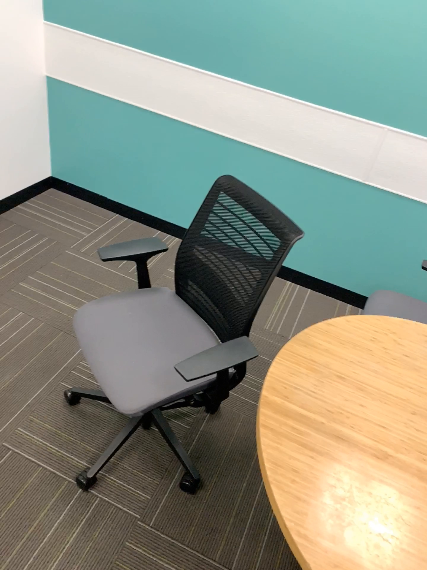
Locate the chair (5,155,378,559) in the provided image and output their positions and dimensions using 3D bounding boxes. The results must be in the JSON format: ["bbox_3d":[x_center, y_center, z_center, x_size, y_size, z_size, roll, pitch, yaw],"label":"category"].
[{"bbox_3d":[-0.140,0.192,1.576,0.841,0.984,0.733,-19,47,-35],"label":"chair"}]
